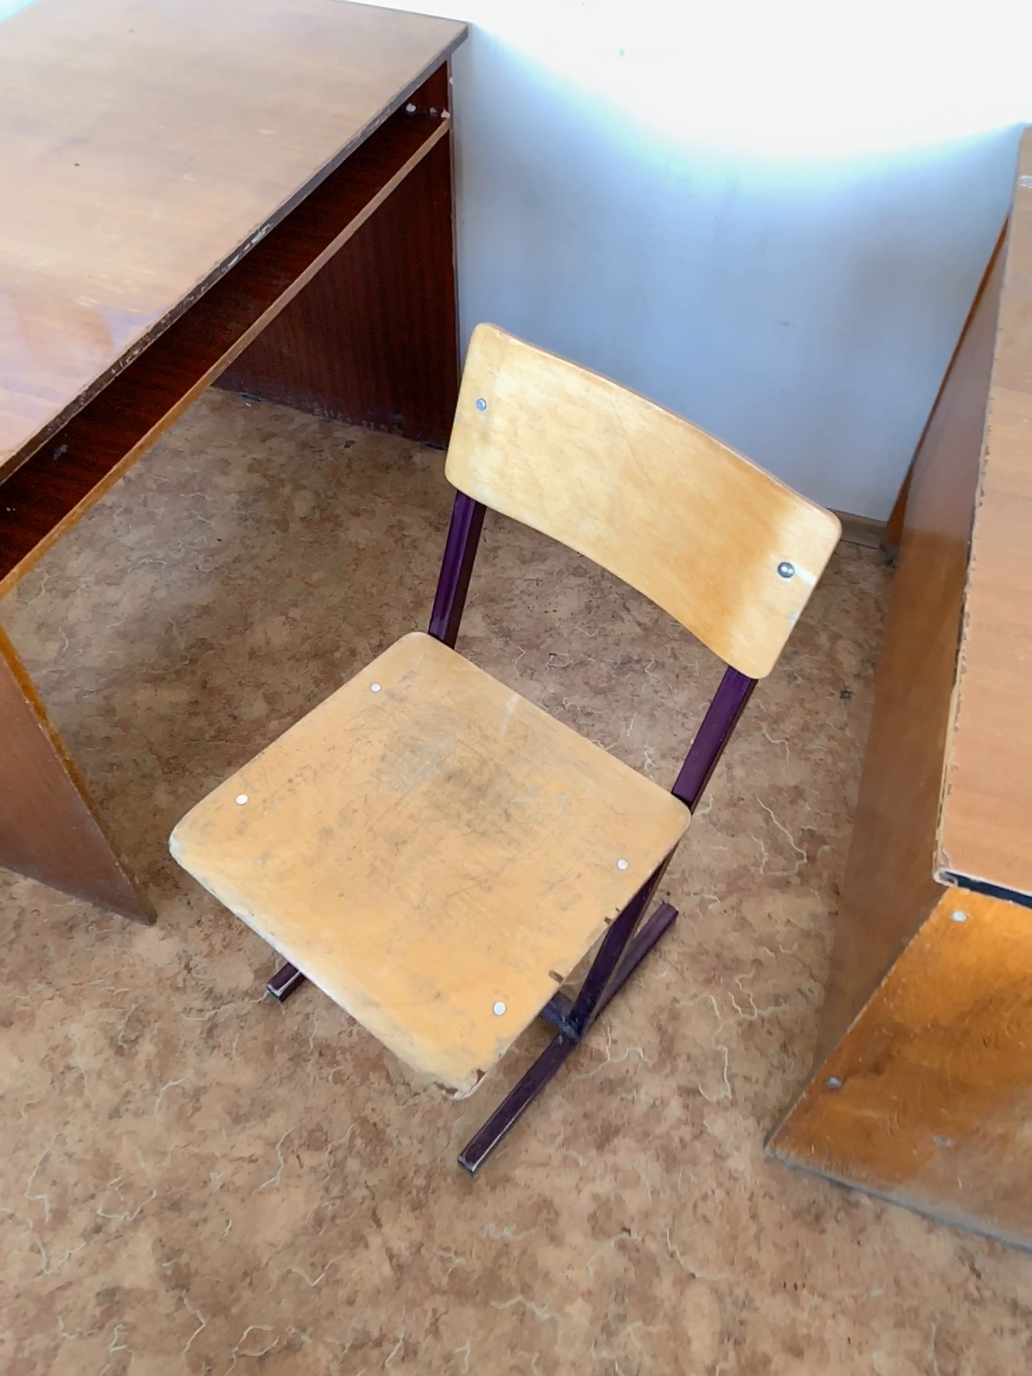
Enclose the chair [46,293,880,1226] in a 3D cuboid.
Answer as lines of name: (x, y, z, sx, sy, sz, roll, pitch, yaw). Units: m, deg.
chair: (-0.029, 0.111, 1.039, 0.381, 0.734, 0.472, 34, 58, 23)
